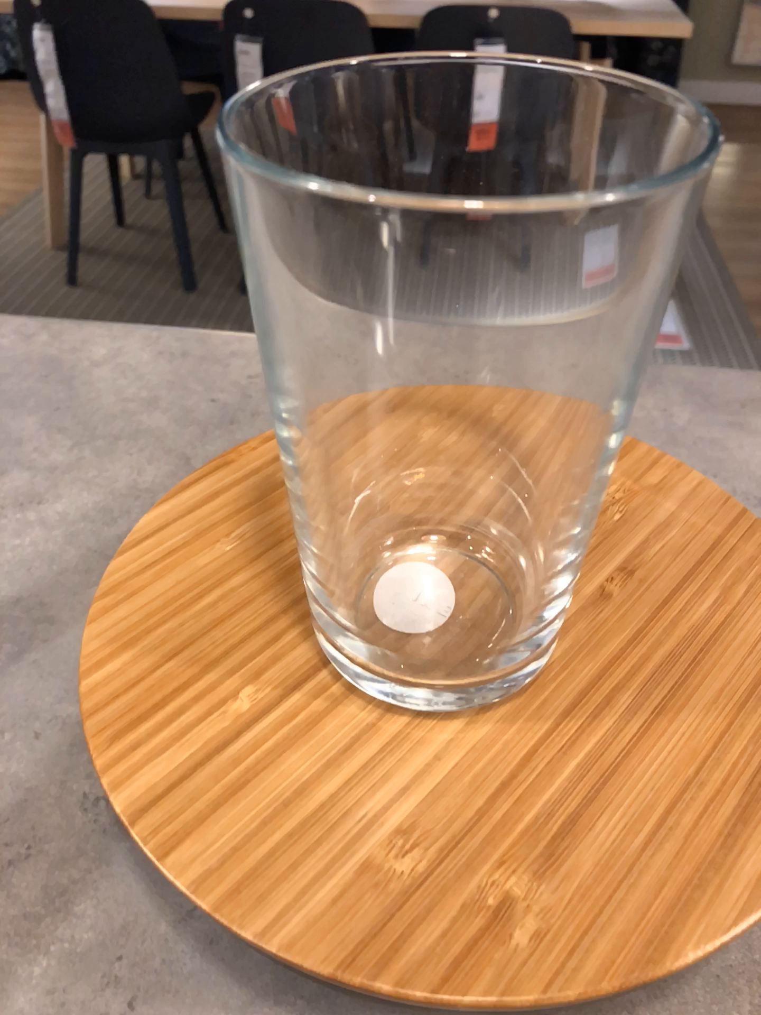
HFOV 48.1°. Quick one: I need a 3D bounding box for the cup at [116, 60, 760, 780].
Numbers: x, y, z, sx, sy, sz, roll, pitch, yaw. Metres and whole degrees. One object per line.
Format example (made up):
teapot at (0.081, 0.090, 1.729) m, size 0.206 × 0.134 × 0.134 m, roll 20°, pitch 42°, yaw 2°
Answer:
cup at (0.010, -0.019, 0.206) m, size 0.100 × 0.139 × 0.100 m, roll 1°, pitch 39°, yaw -1°
